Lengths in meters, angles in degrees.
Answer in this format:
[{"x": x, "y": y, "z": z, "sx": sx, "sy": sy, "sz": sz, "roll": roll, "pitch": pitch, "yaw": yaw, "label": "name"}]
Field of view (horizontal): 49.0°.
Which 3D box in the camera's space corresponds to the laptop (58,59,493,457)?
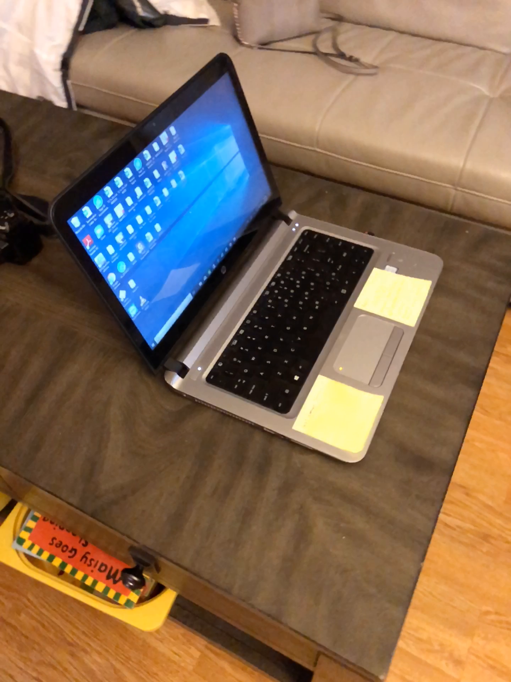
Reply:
[{"x": 0.037, "y": -0.110, "z": 0.618, "sx": 0.313, "sy": 0.203, "sz": 0.316, "roll": 20, "pitch": 55, "yaw": 17, "label": "laptop"}]
